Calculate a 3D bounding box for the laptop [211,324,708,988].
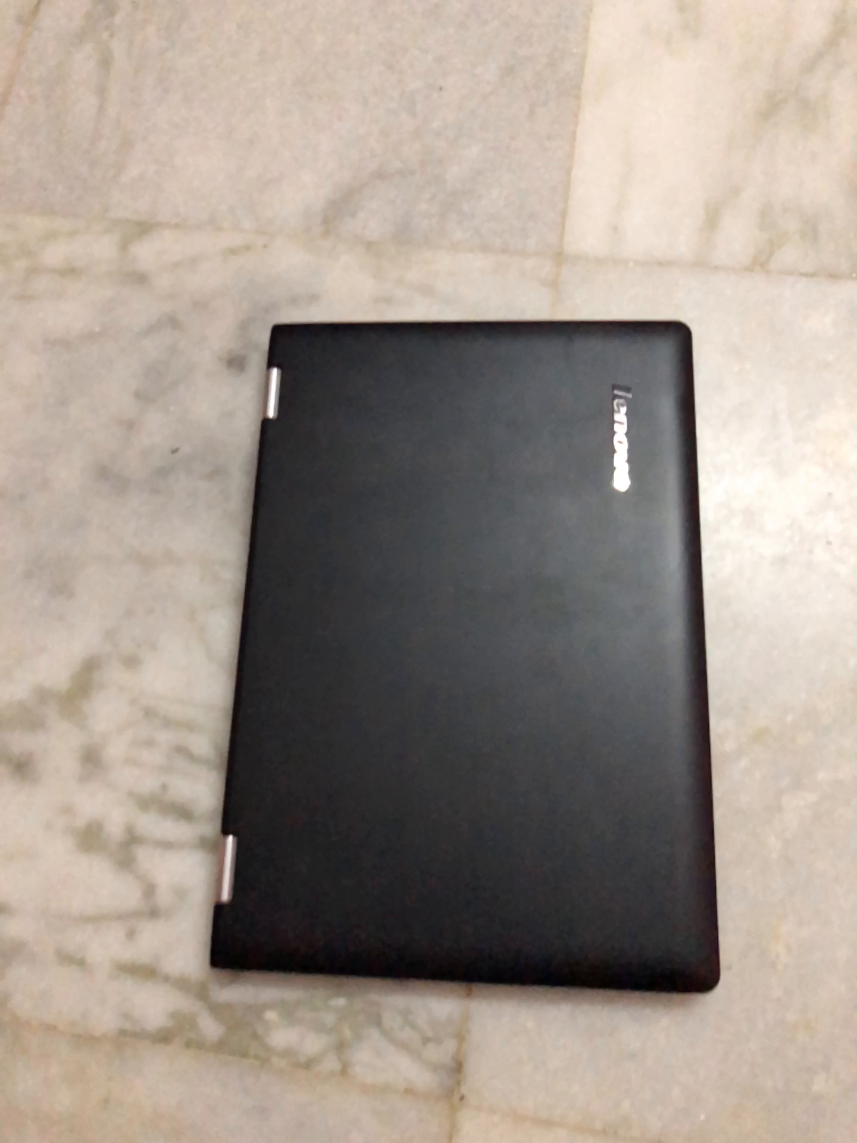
[{"bbox_3d":[0.019,0.023,0.473,0.222,0.002,0.329,1,73,5],"label":"laptop"}]
